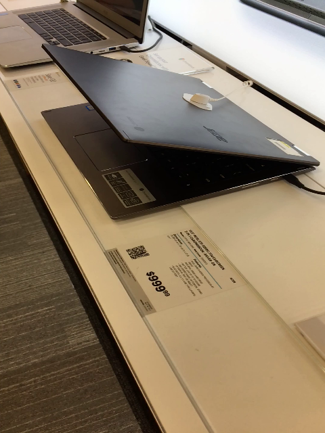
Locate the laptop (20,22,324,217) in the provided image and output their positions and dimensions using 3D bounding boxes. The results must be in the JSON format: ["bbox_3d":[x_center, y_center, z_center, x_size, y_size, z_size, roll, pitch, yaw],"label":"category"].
[{"bbox_3d":[-0.008,-0.144,0.558,0.244,0.099,0.278,-20,47,-15],"label":"laptop"}]
